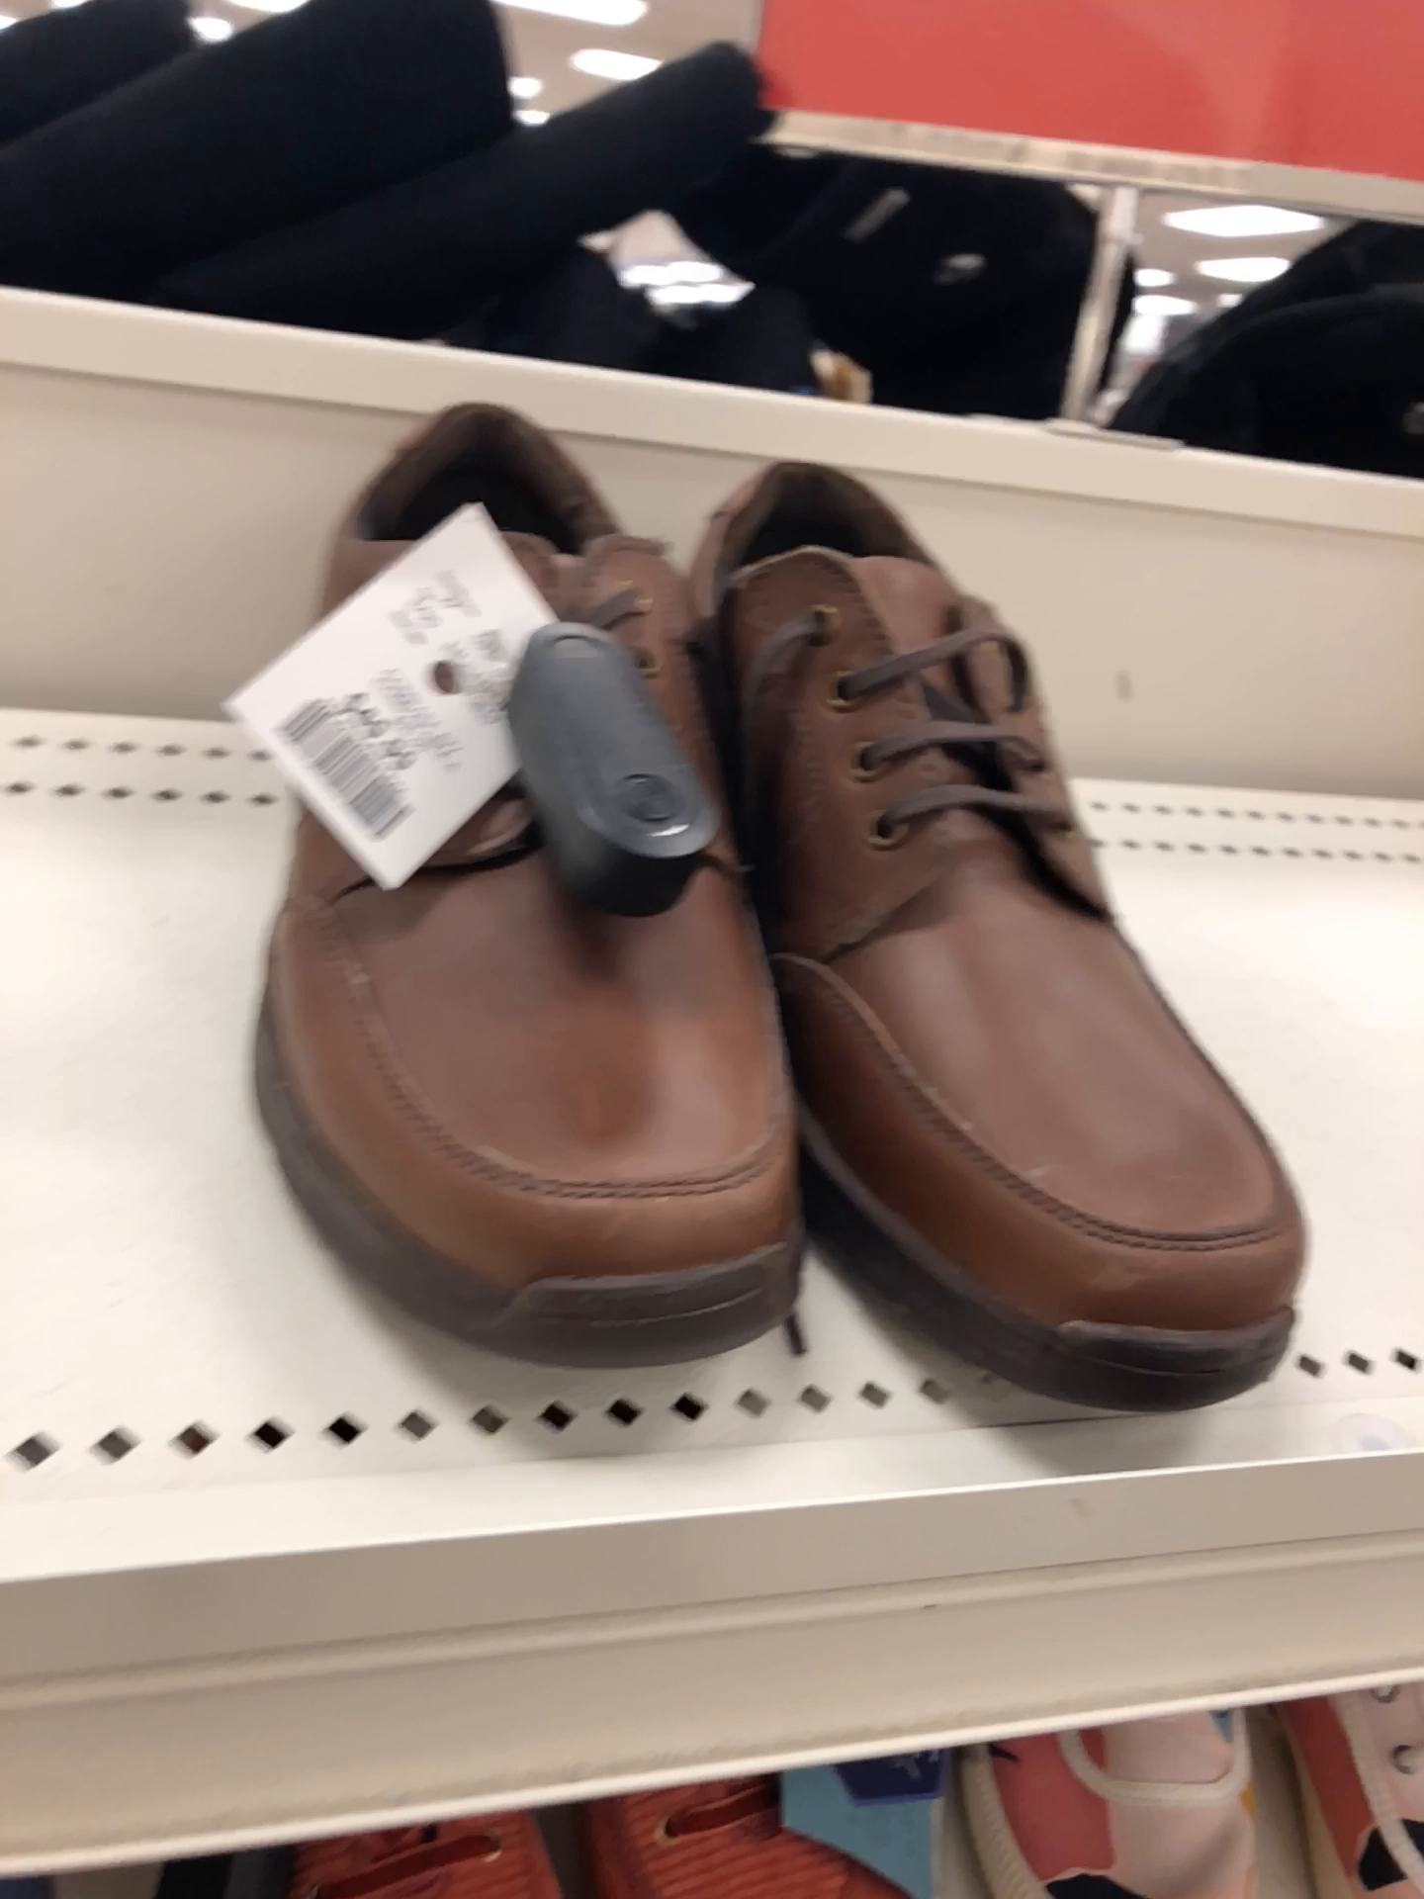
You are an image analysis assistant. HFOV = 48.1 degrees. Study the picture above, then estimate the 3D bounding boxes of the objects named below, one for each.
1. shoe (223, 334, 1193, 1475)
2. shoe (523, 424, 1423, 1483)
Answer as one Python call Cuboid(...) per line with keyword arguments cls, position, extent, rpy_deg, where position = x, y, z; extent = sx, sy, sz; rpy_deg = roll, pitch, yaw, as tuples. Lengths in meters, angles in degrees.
Cuboid(cls="shoe", position=(-0.045, -0.050, 0.364), extent=(0.120, 0.109, 0.332), rpy_deg=(1, 28, -19))
Cuboid(cls="shoe", position=(0.055, -0.040, 0.391), extent=(0.120, 0.109, 0.342), rpy_deg=(0, 25, -21))
